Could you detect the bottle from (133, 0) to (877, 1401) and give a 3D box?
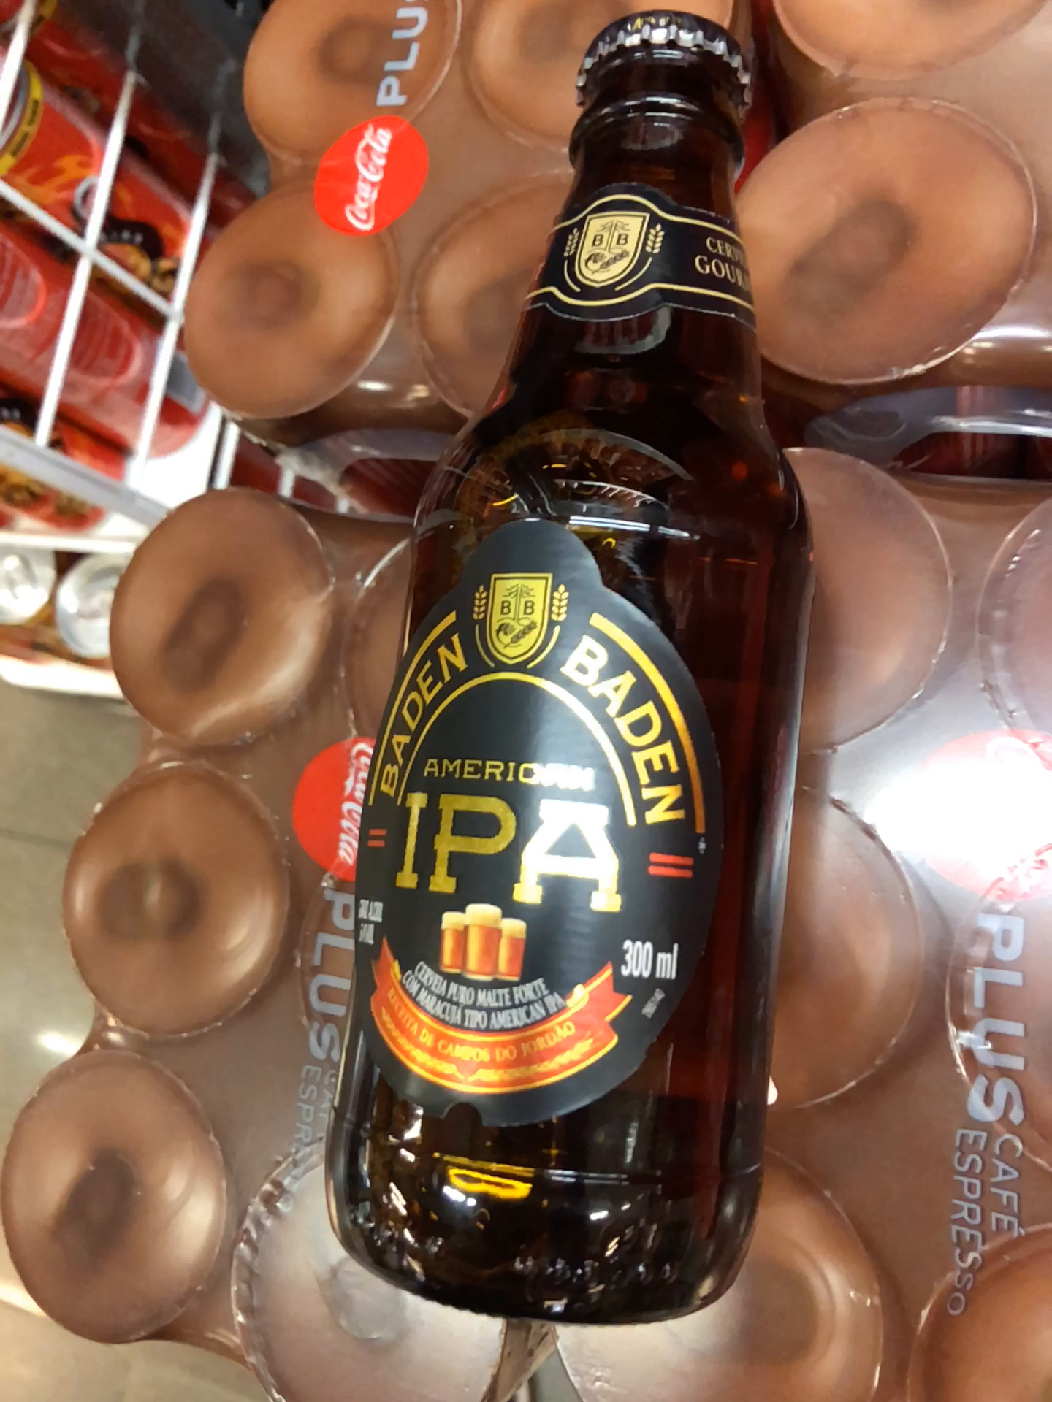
[{"bbox_3d":[0.005,-0.023,0.172,0.070,0.050,0.210,3,81,21],"label":"bottle"}]
